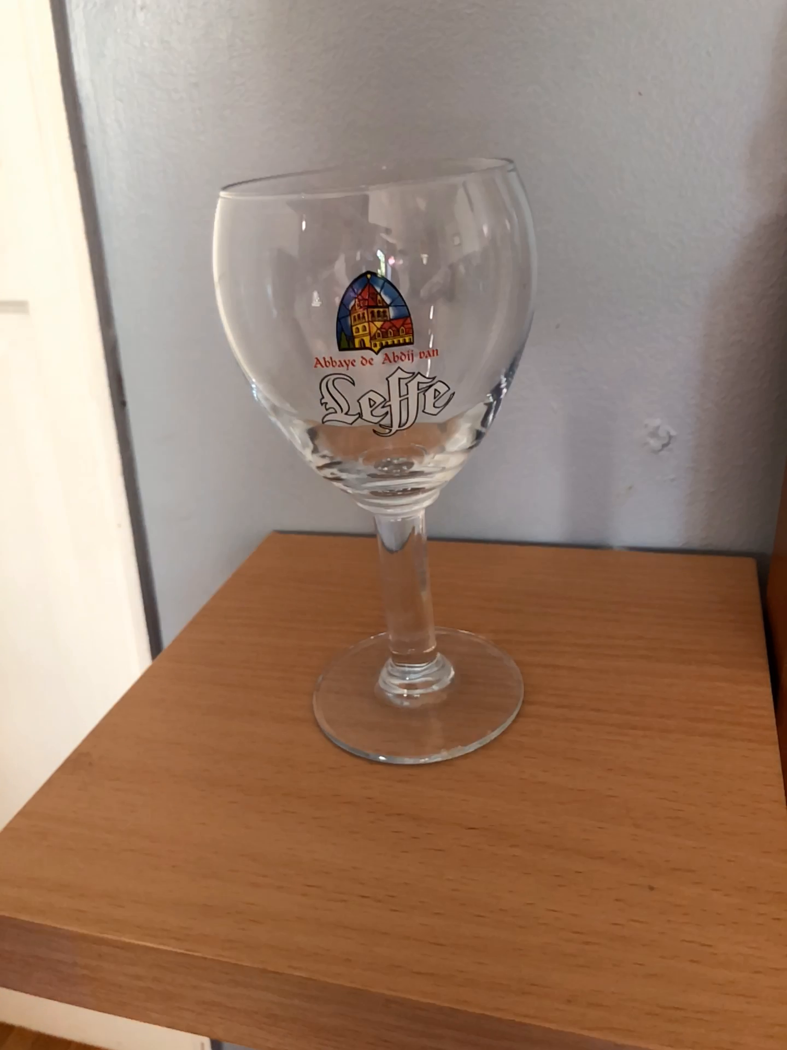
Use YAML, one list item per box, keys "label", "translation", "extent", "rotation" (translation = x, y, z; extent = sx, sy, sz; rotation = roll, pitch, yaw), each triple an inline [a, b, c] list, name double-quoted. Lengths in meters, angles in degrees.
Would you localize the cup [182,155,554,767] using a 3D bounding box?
- label: "cup"
  translation: [0.000, -0.025, 0.303]
  extent: [0.095, 0.185, 0.101]
  rotation: [-2, 22, 1]
